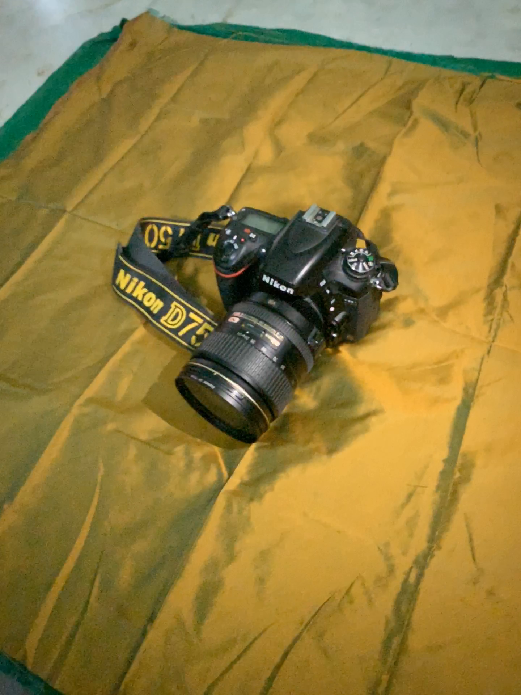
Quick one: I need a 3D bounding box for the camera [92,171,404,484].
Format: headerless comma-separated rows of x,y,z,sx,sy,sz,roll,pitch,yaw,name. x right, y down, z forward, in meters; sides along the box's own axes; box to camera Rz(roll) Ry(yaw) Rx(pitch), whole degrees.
-0.001,-0.023,0.437,0.150,0.101,0.190,26,64,21,camera
